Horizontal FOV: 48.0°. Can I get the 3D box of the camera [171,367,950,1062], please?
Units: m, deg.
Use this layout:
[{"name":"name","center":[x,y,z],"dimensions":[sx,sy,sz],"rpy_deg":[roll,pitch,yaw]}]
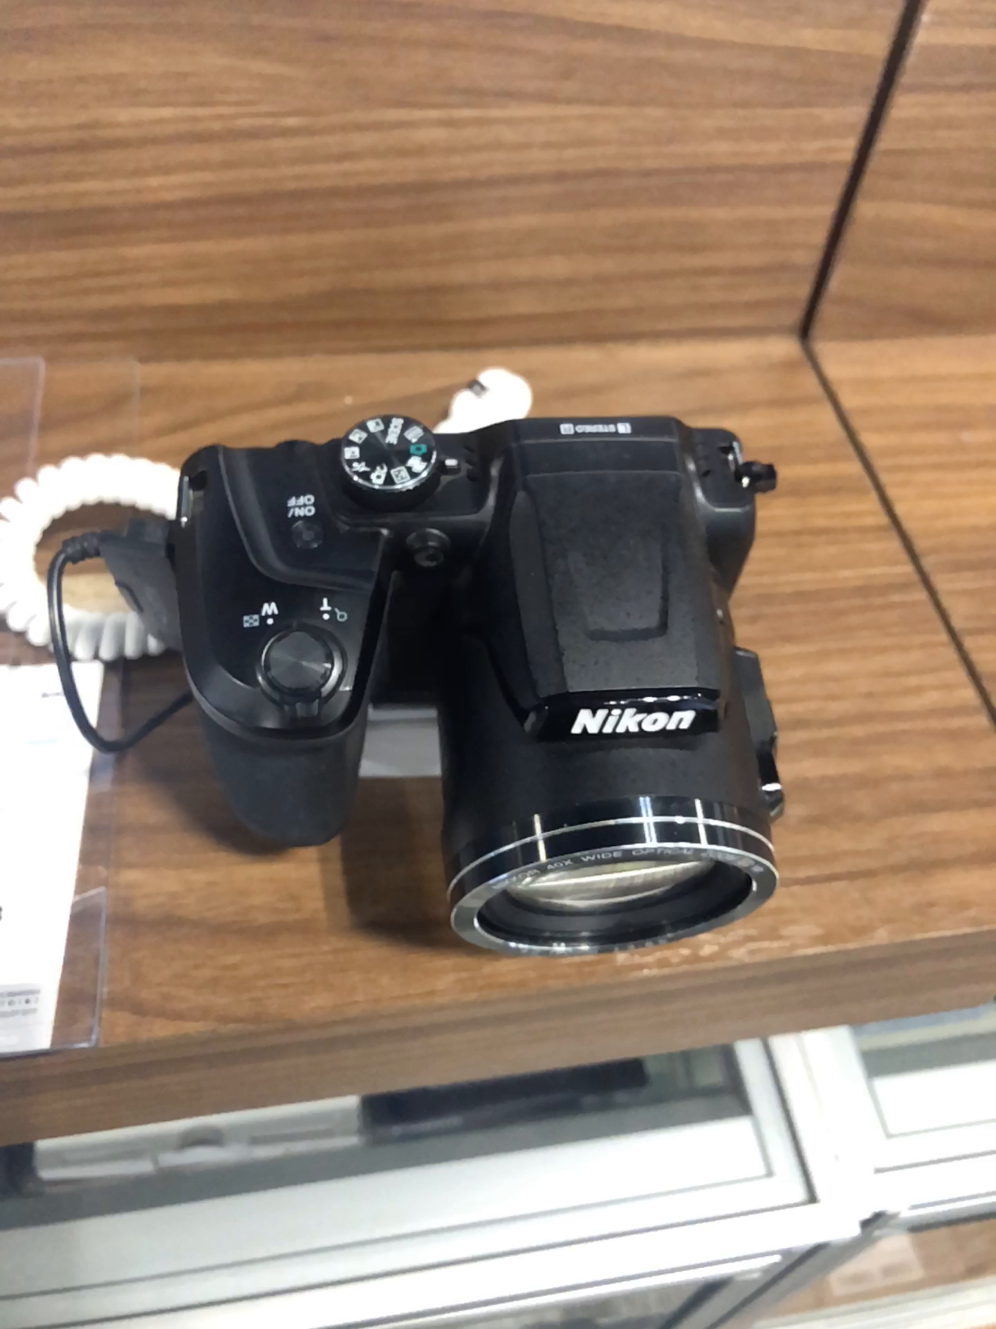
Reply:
[{"name":"camera","center":[0.001,0.007,0.214],"dimensions":[0.110,0.080,0.096],"rpy_deg":[-4,52,-9]}]
